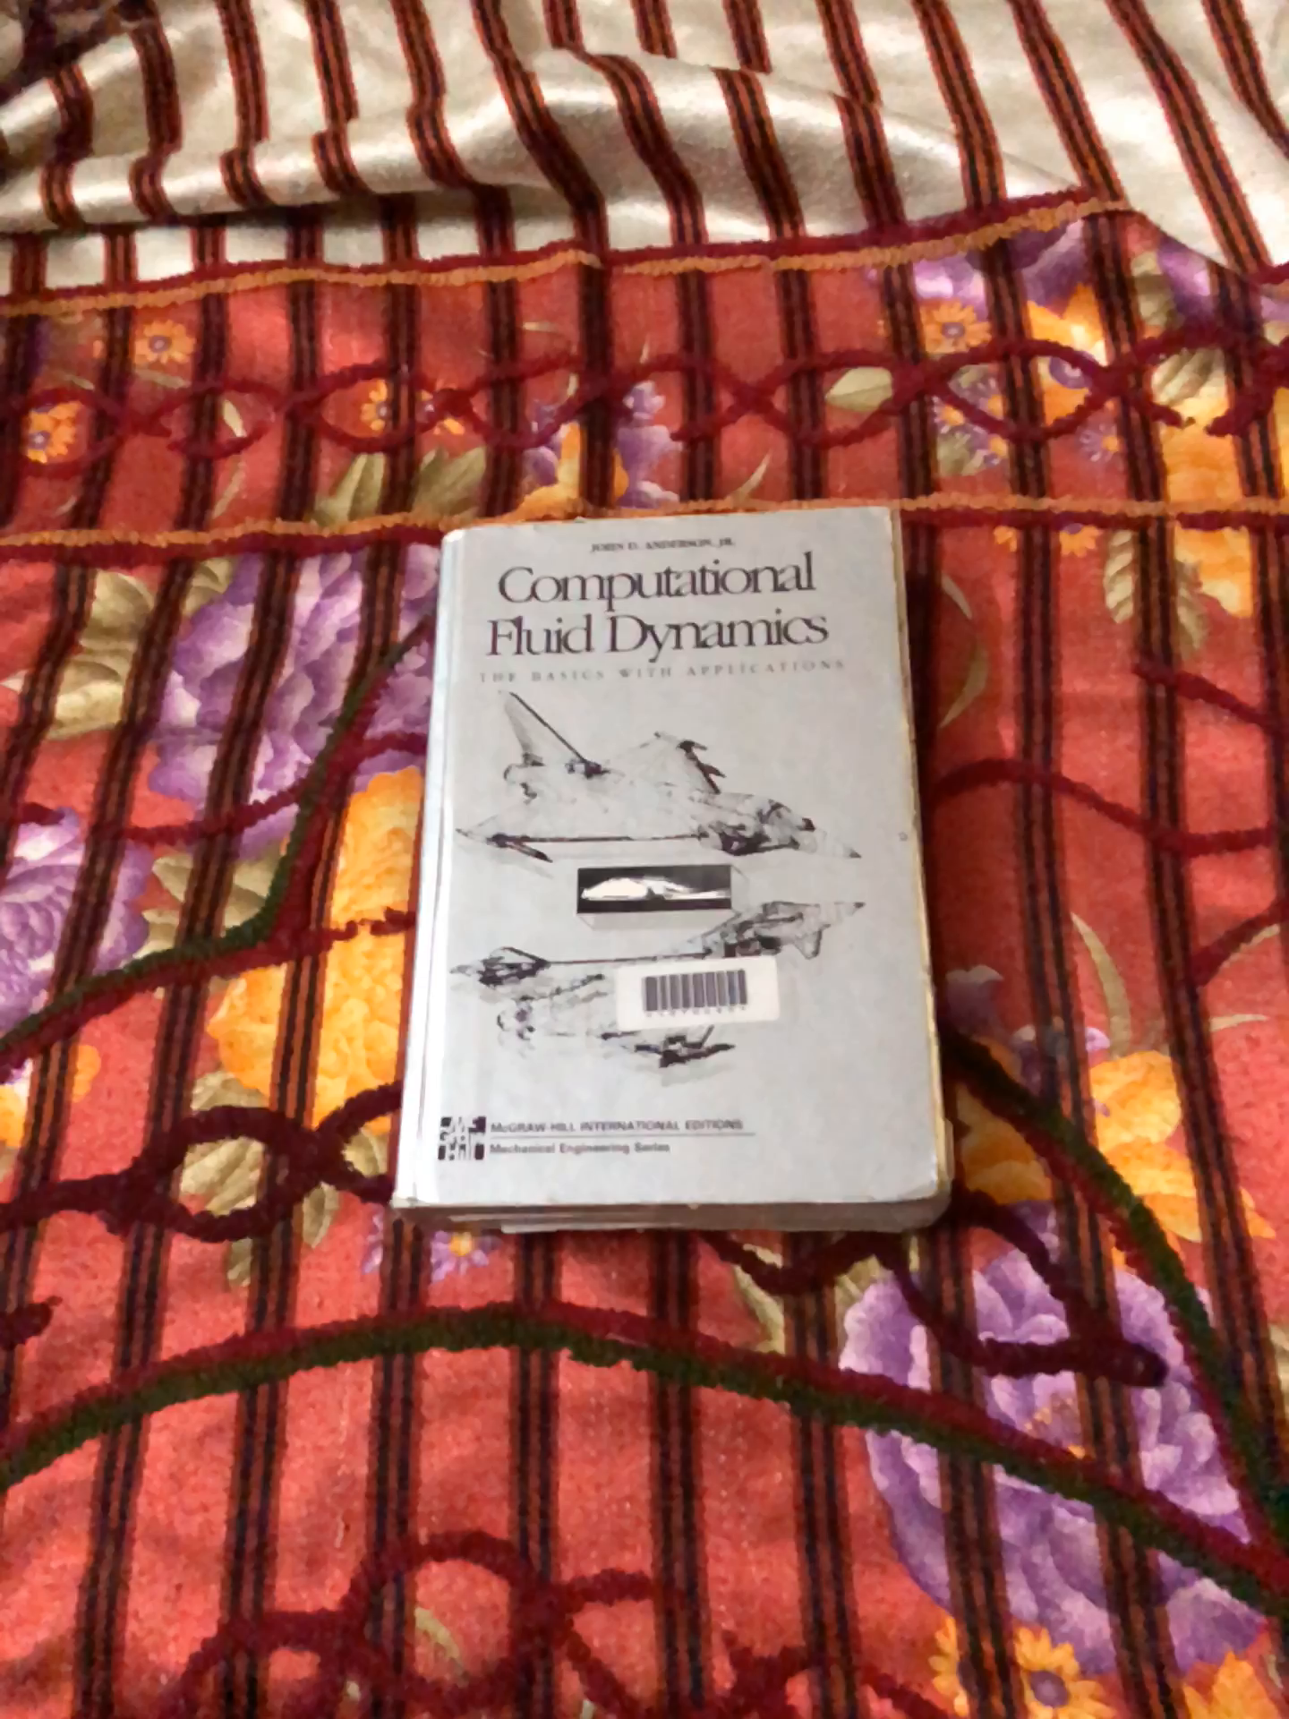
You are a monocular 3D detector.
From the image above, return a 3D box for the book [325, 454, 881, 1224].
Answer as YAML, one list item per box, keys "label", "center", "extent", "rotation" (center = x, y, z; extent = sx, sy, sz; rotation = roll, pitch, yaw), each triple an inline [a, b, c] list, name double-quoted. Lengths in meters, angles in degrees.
- label: "book"
  center: [-0.010, -0.010, 0.482]
  extent: [0.160, 0.060, 0.250]
  rotation: [-2, 69, 5]
